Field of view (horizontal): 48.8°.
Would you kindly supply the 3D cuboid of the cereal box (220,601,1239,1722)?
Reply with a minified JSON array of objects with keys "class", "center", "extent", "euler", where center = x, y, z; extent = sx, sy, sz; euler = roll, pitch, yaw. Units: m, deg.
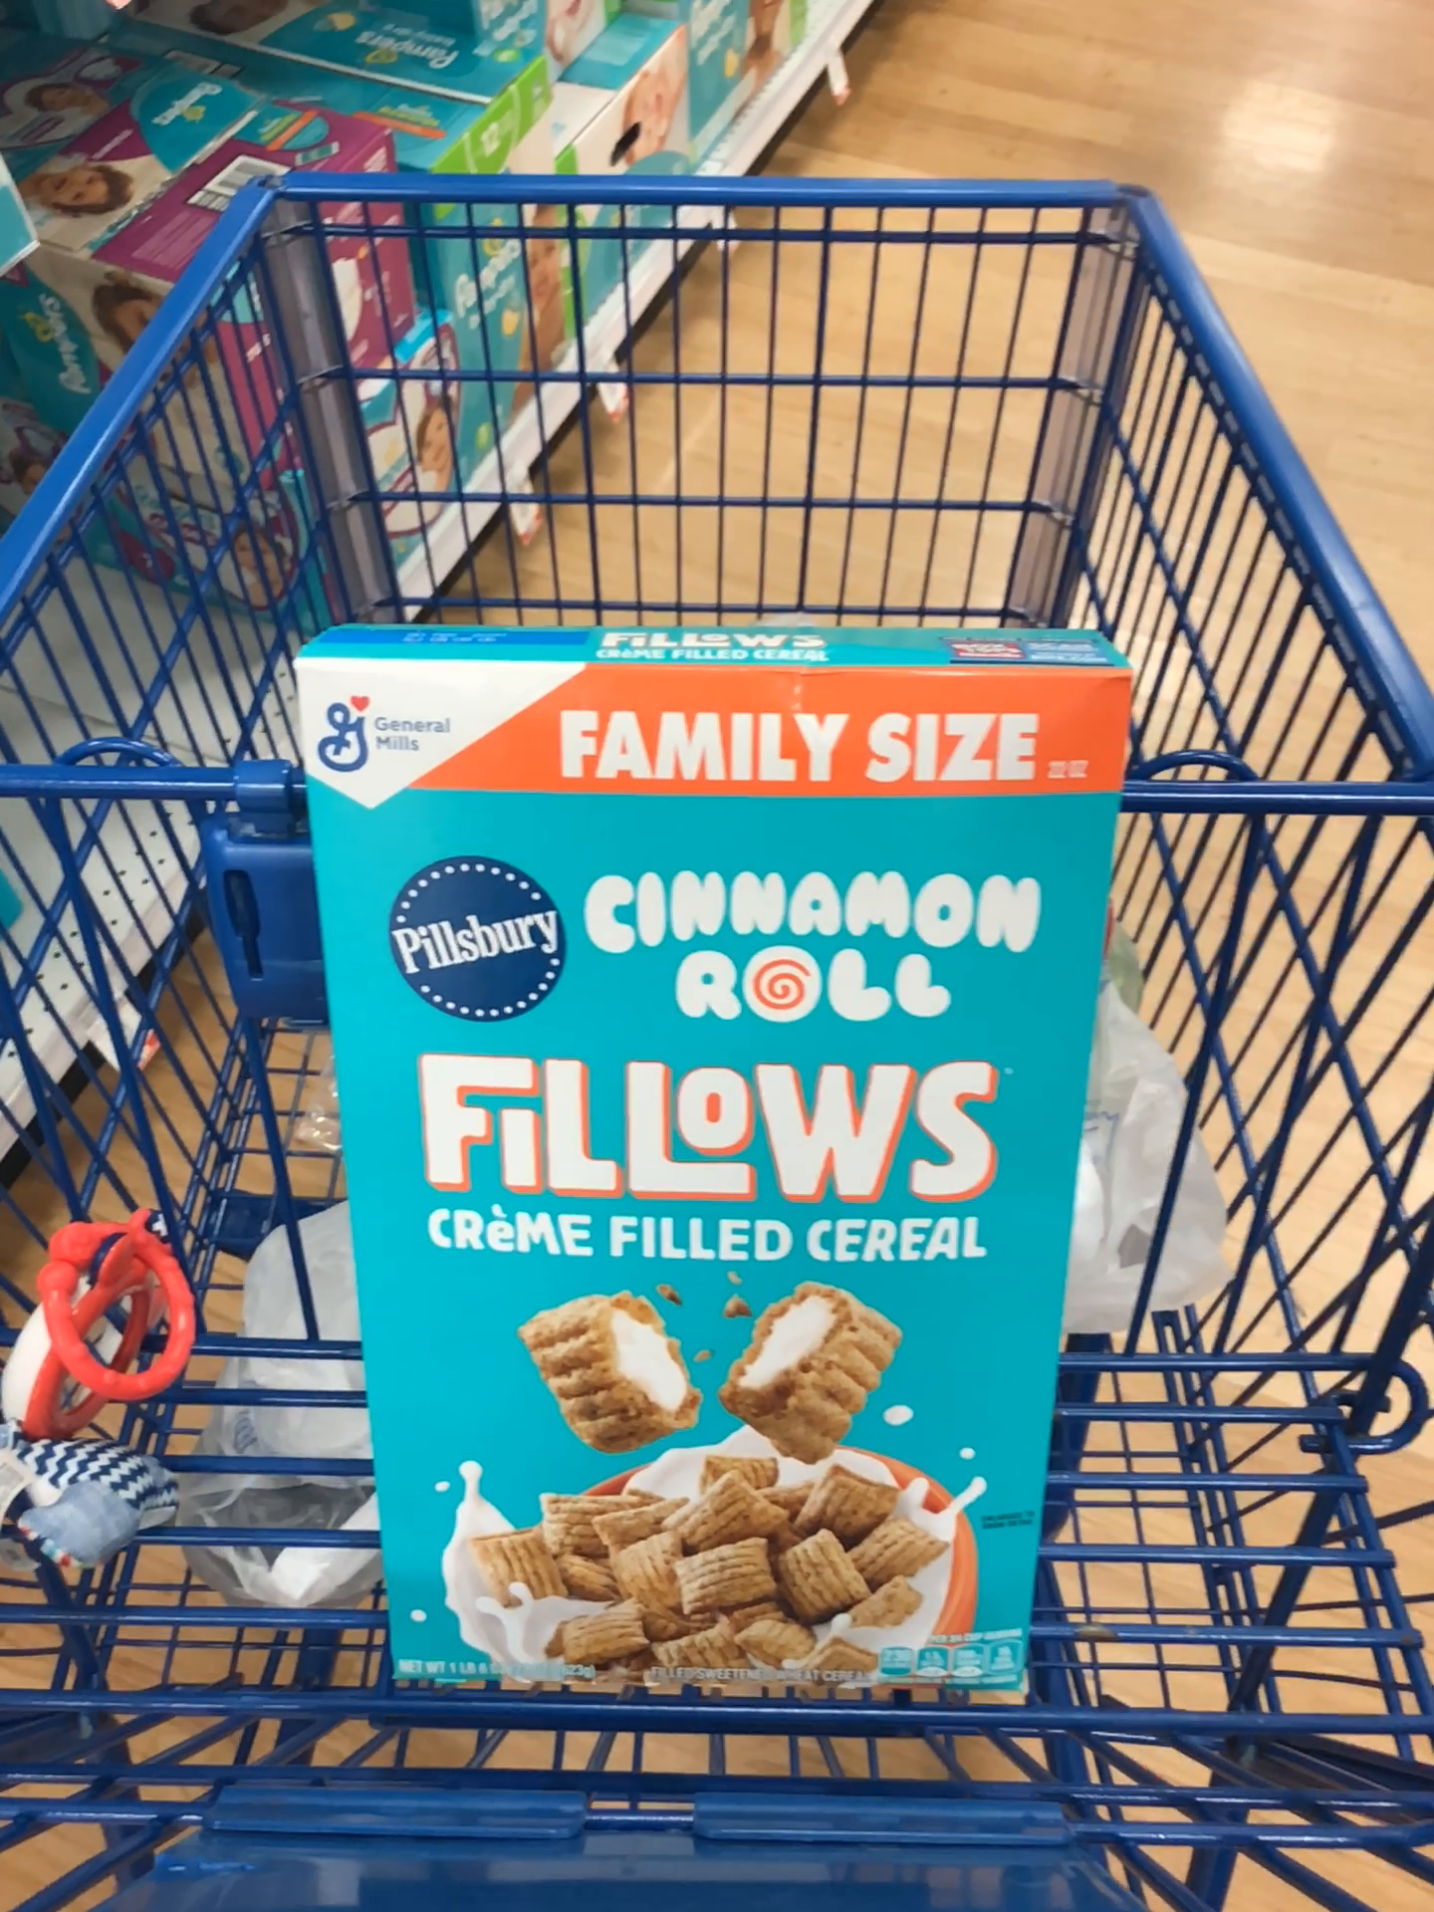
[{"class":"cereal box","center":[0.001,0.061,0.405],"extent":[0.210,0.290,0.060],"euler":[0,21,-1]}]
